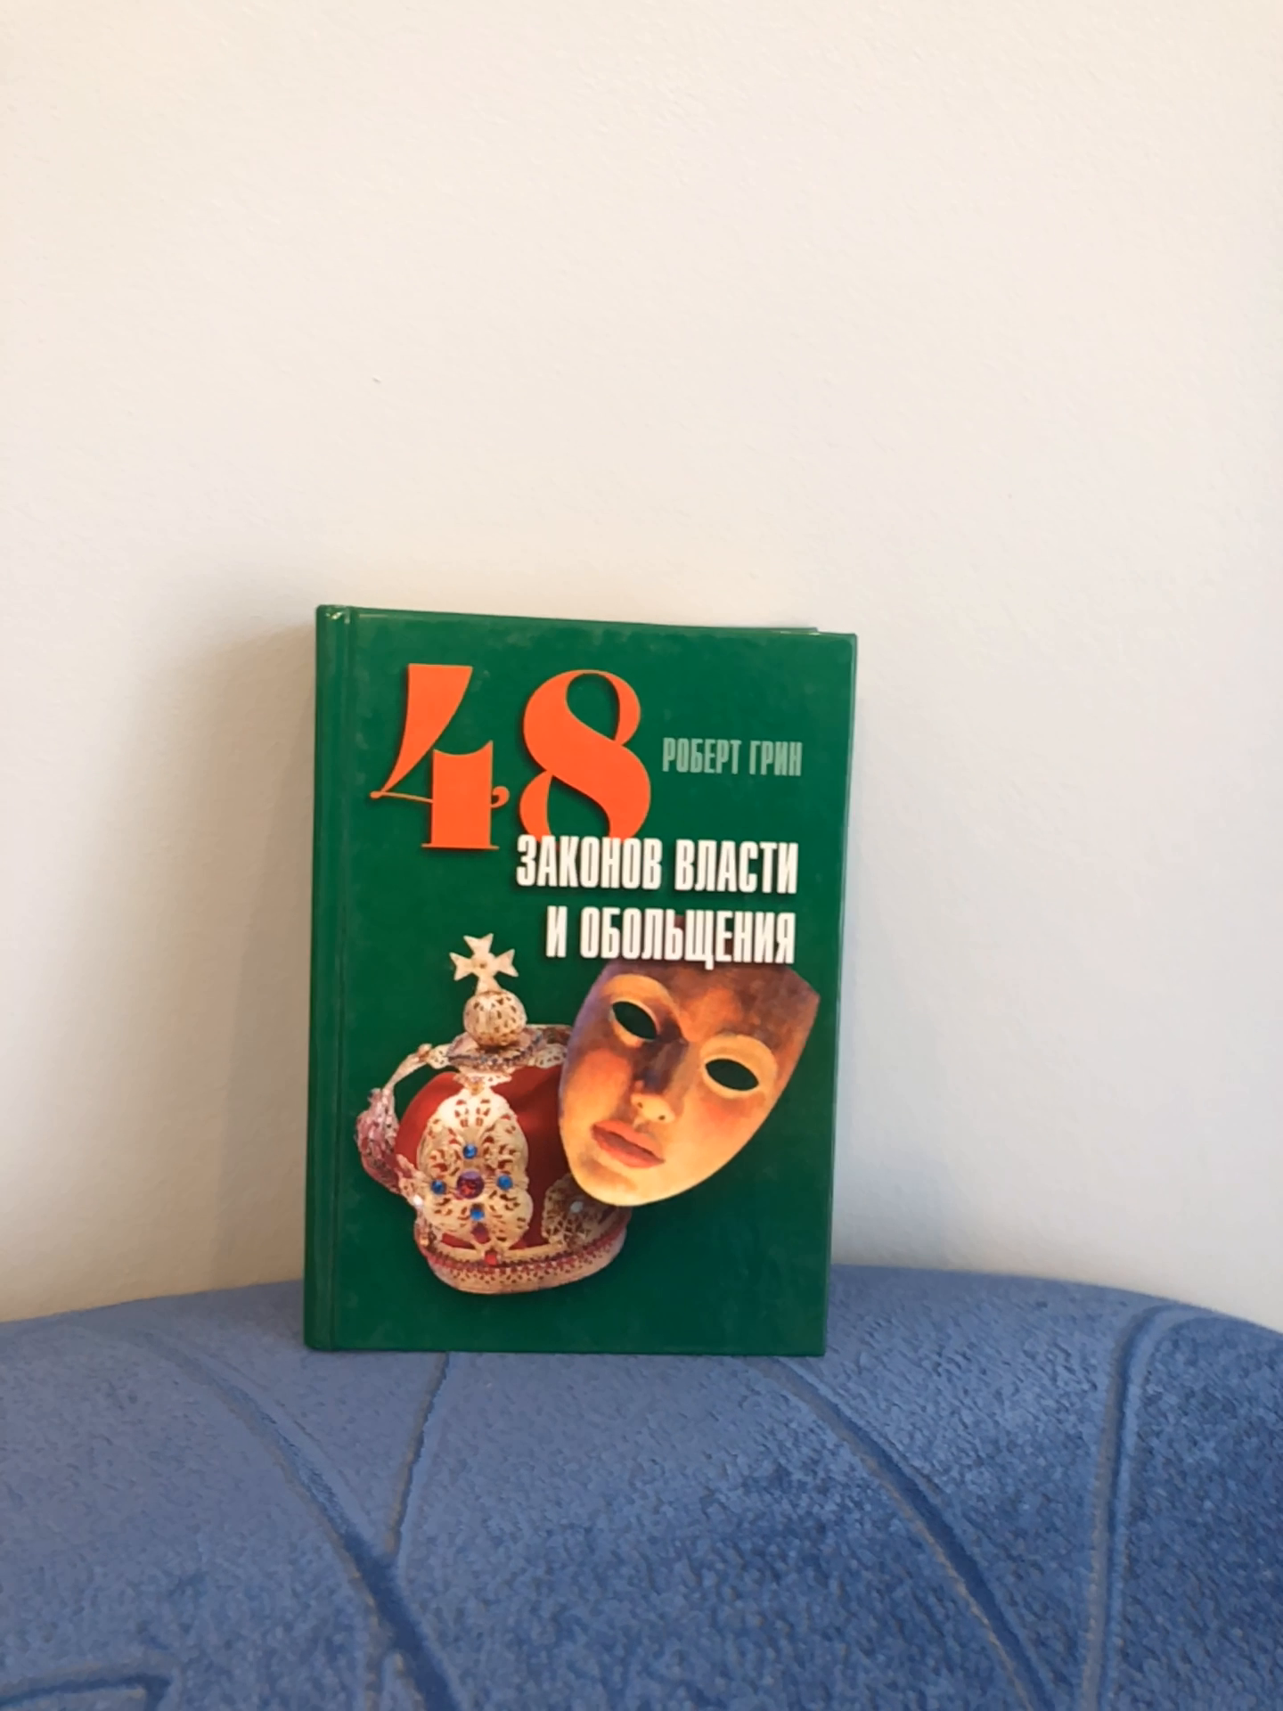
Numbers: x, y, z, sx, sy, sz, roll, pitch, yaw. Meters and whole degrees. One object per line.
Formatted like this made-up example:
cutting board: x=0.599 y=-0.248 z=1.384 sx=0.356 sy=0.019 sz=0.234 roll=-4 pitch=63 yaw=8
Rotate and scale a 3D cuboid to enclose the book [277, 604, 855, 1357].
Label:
book: x=-0.015 y=0.023 z=0.293 sx=0.106 sy=0.141 sz=0.050 roll=1 pitch=4 yaw=0
